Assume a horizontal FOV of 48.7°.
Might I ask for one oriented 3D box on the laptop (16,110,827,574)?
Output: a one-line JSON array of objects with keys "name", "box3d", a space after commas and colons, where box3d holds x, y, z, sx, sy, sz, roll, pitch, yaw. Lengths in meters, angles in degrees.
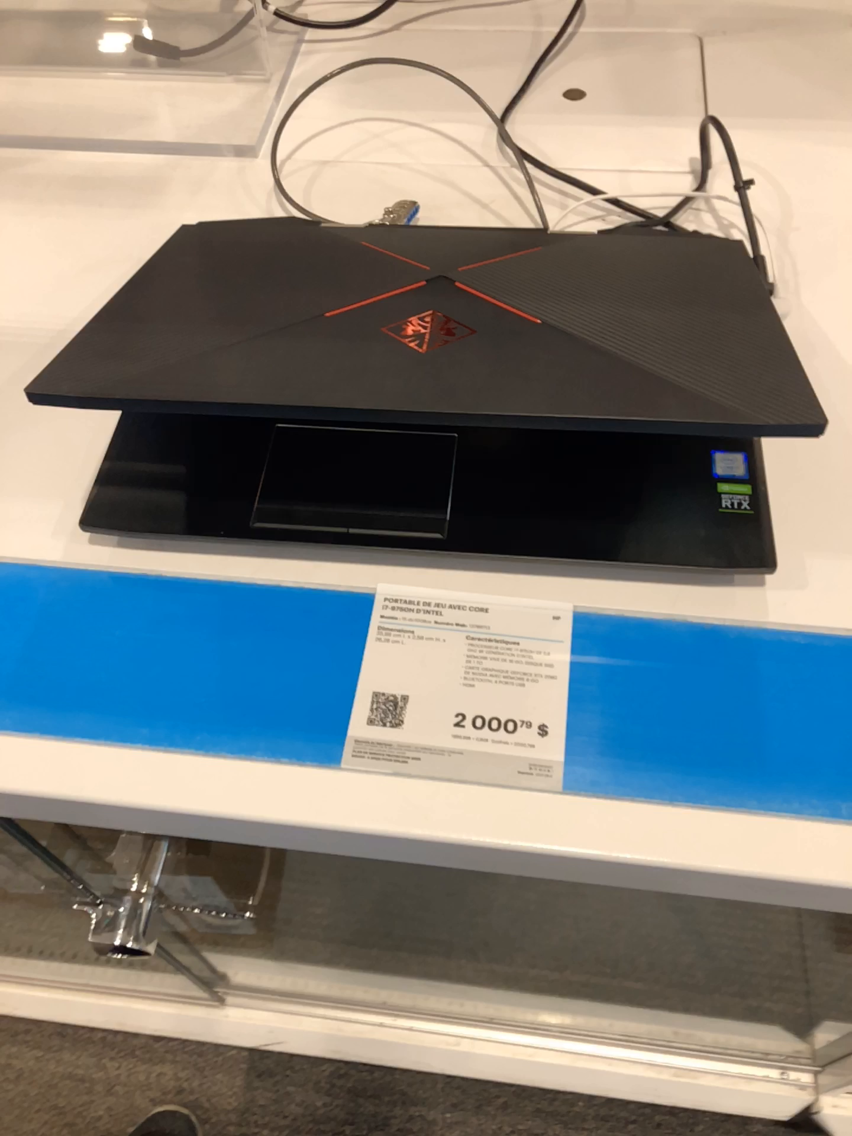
[{"name": "laptop", "box3d": [0.003, -0.132, 0.498, 0.346, 0.085, 0.235, 4, 56, 6]}]
